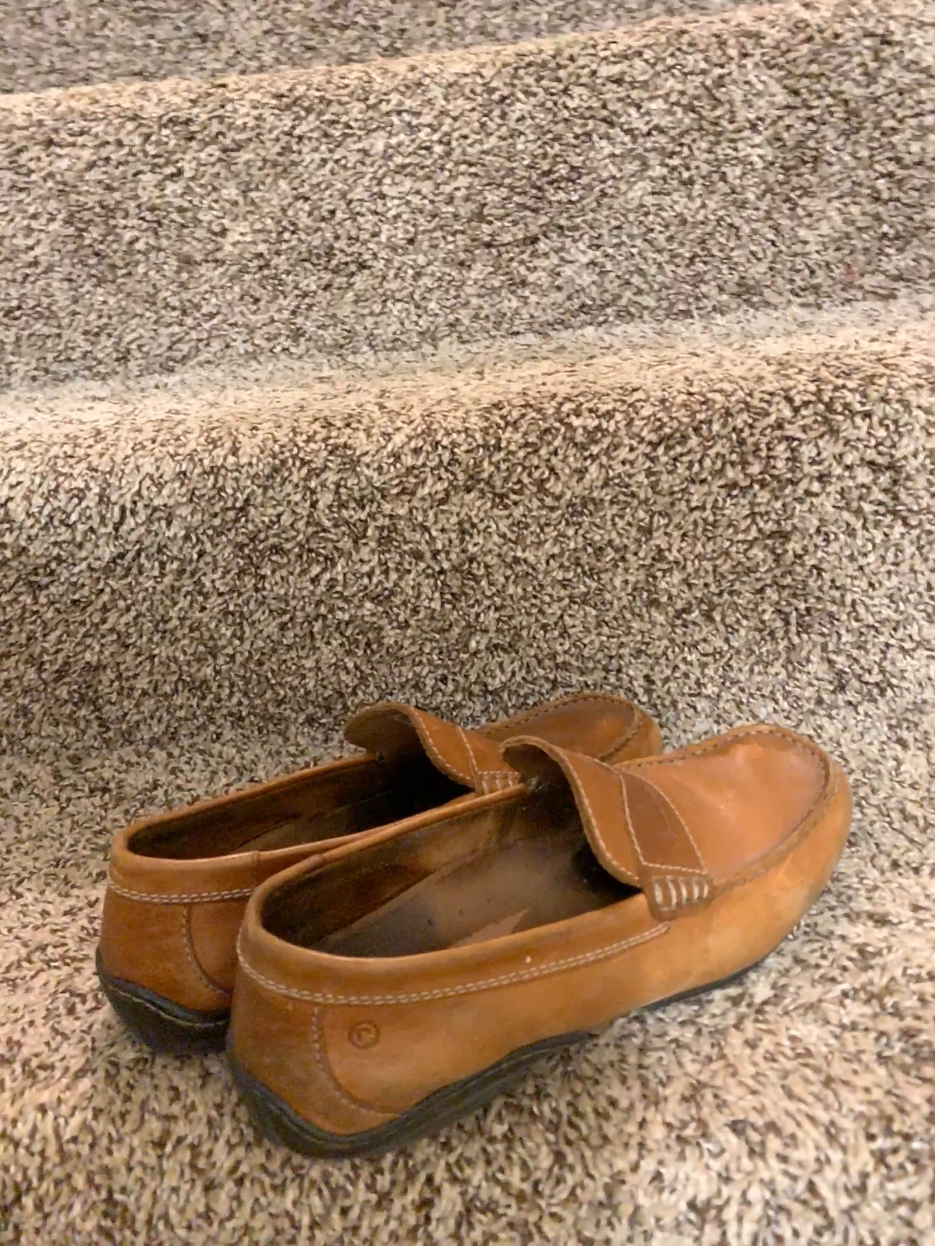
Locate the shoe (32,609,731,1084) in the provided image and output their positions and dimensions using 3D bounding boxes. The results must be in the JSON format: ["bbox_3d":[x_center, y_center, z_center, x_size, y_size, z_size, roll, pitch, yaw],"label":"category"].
[{"bbox_3d":[-0.023,0.074,0.410,0.280,0.070,0.090,-17,23,-26],"label":"shoe"}]

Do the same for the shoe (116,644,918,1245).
[{"bbox_3d":[0.027,0.096,0.370,0.280,0.070,0.120,-17,23,-26],"label":"shoe"}]
